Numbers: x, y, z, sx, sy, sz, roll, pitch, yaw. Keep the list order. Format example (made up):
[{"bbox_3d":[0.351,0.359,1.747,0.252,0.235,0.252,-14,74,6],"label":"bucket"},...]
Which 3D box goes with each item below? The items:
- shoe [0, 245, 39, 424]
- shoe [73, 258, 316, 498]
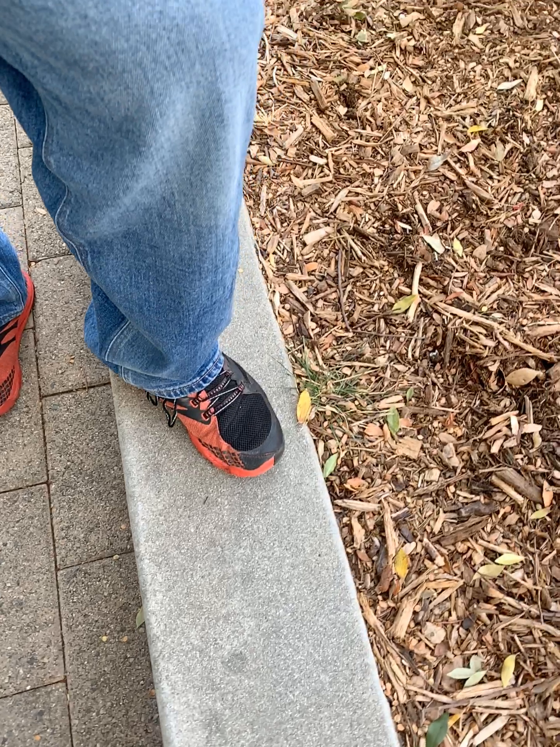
[{"bbox_3d":[-0.515,-0.075,1.004,0.136,0.080,0.306,-4,65,-7],"label":"shoe"},{"bbox_3d":[-0.113,0.001,0.745,0.310,0.080,0.122,42,68,15],"label":"shoe"}]
